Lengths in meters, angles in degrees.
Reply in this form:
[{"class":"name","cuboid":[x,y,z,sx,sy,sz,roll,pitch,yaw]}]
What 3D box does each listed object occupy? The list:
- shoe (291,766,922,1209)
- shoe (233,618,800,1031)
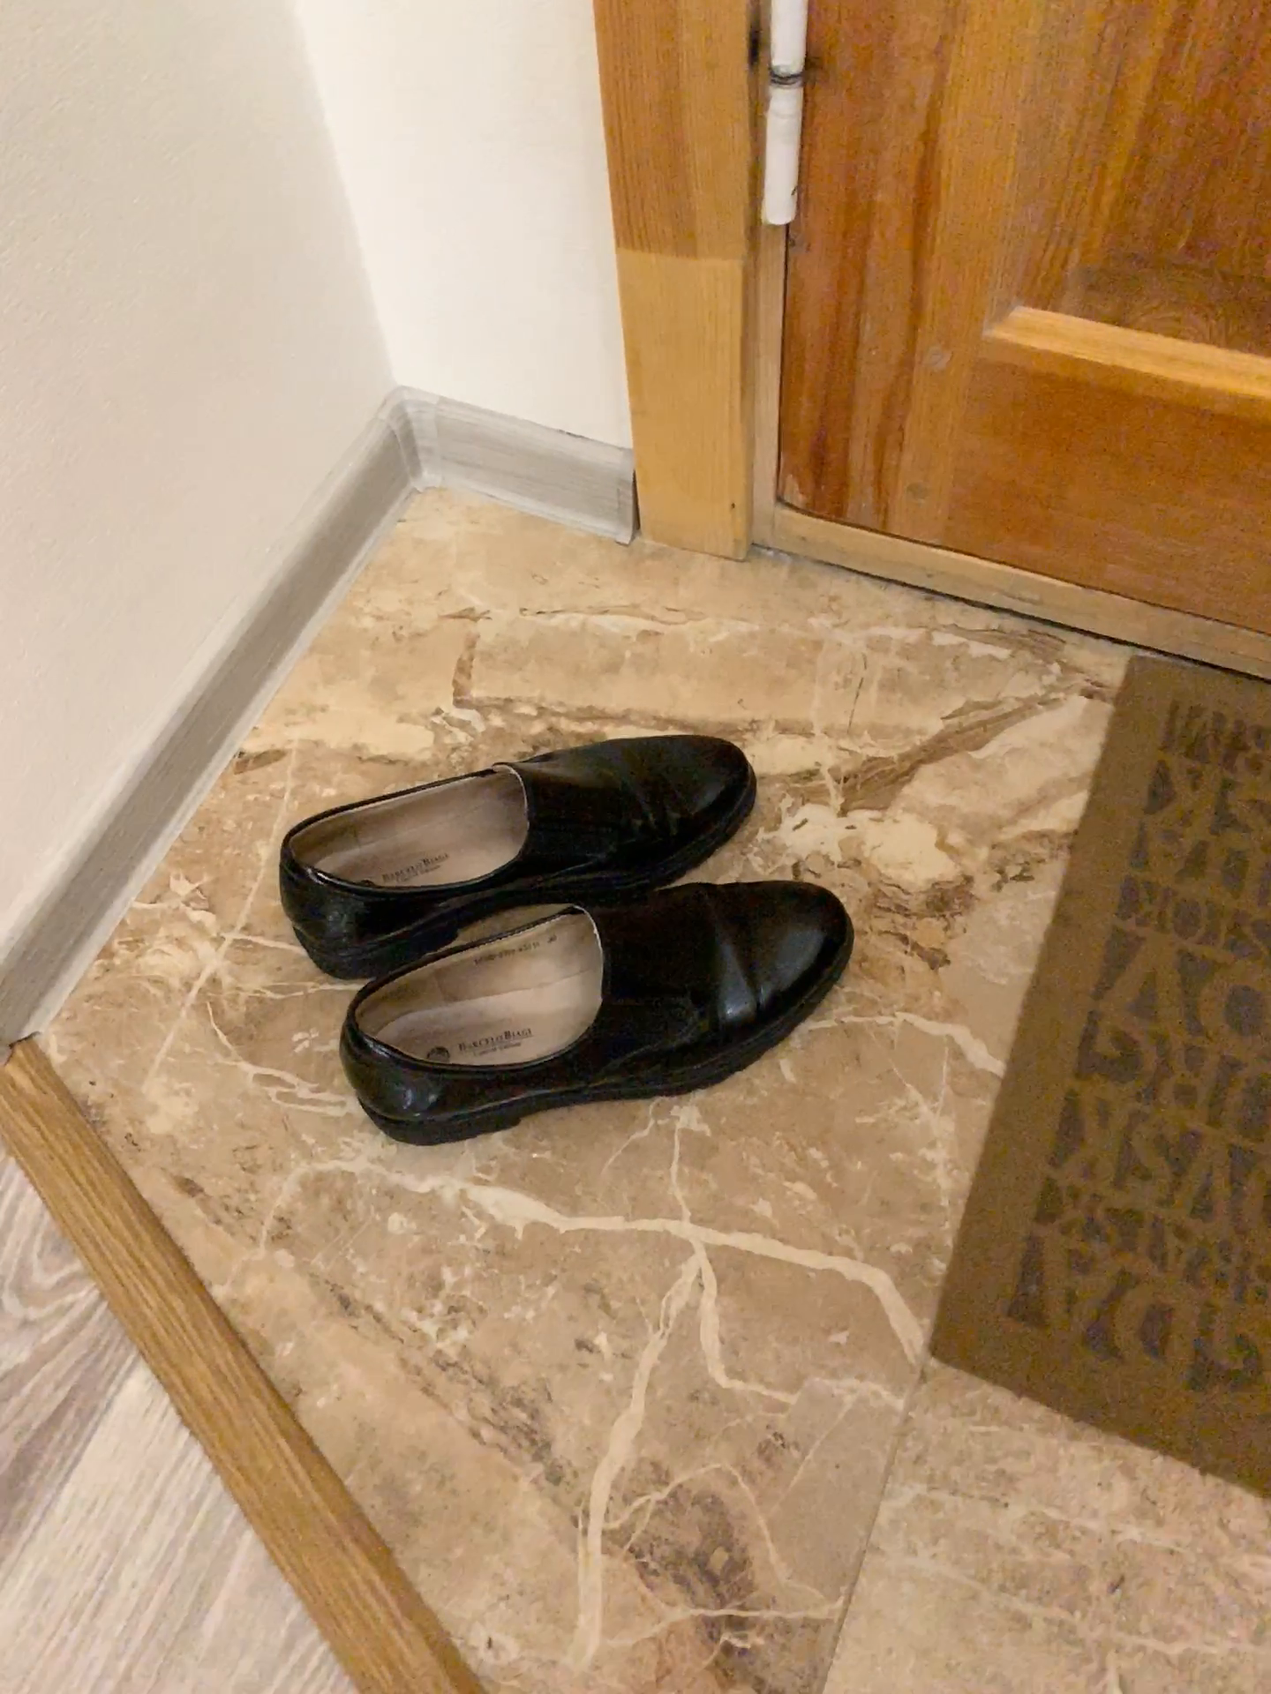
[{"class":"shoe","cuboid":[-0.011,0.066,0.608,0.260,0.100,0.090,-19,59,-7]},{"class":"shoe","cuboid":[-0.055,-0.011,0.671,0.260,0.100,0.090,-21,59,-8]}]
